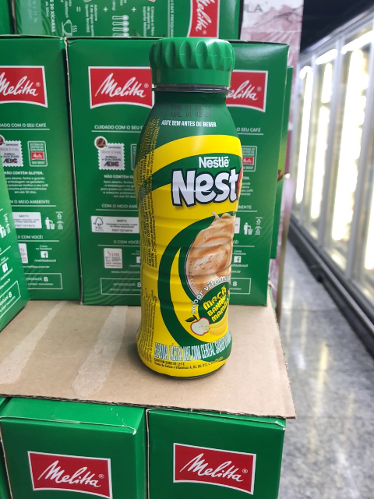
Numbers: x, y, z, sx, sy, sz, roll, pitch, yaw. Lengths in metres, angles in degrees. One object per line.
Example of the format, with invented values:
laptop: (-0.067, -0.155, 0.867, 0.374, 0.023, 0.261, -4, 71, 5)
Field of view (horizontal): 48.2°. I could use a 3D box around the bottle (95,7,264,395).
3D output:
bottle: (-0.006, -0.023, 0.231, 0.060, 0.179, 0.060, 0, 17, 0)
